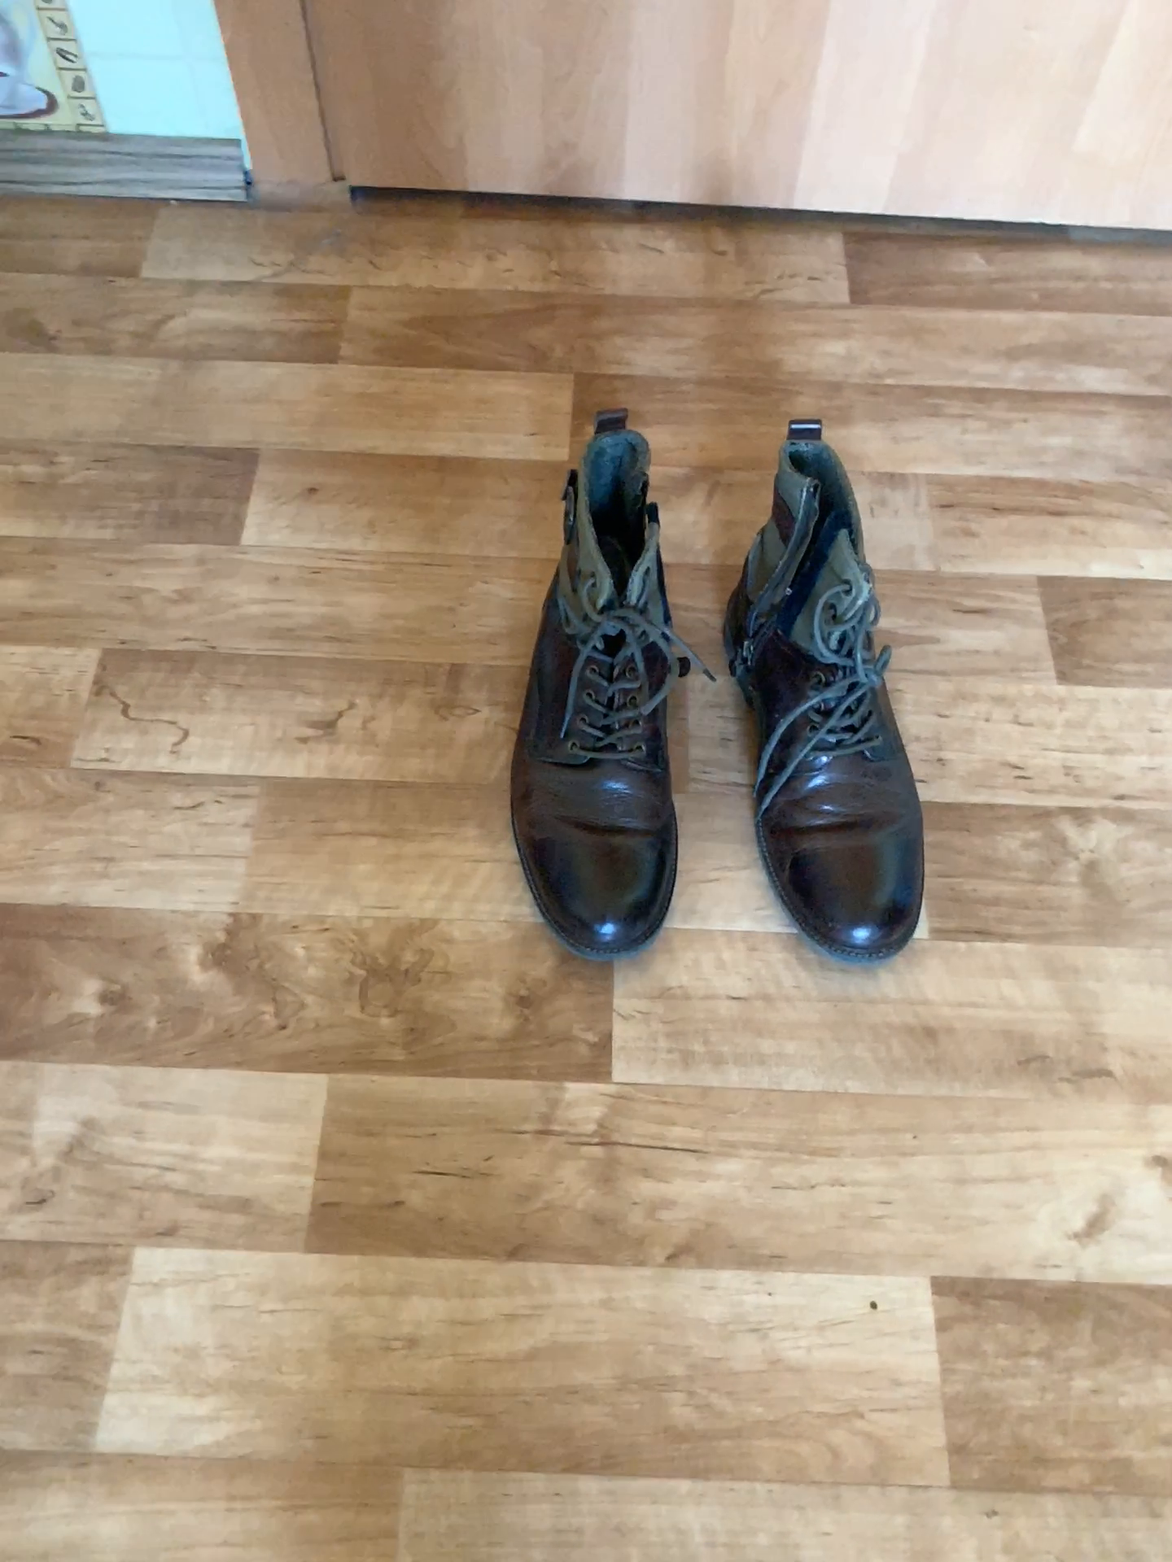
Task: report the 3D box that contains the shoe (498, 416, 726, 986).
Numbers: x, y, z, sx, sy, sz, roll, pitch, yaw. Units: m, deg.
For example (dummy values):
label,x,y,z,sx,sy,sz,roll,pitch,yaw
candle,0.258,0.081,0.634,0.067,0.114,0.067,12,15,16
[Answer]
label,x,y,z,sx,sy,sz,roll,pitch,yaw
shoe,0.009,-0.051,0.718,0.110,0.150,0.311,0,60,-1

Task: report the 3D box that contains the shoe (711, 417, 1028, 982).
label,x,y,z,sx,sy,sz,roll,pitch,yaw
shoe,0.154,-0.053,0.729,0.110,0.150,0.311,-2,60,-2
